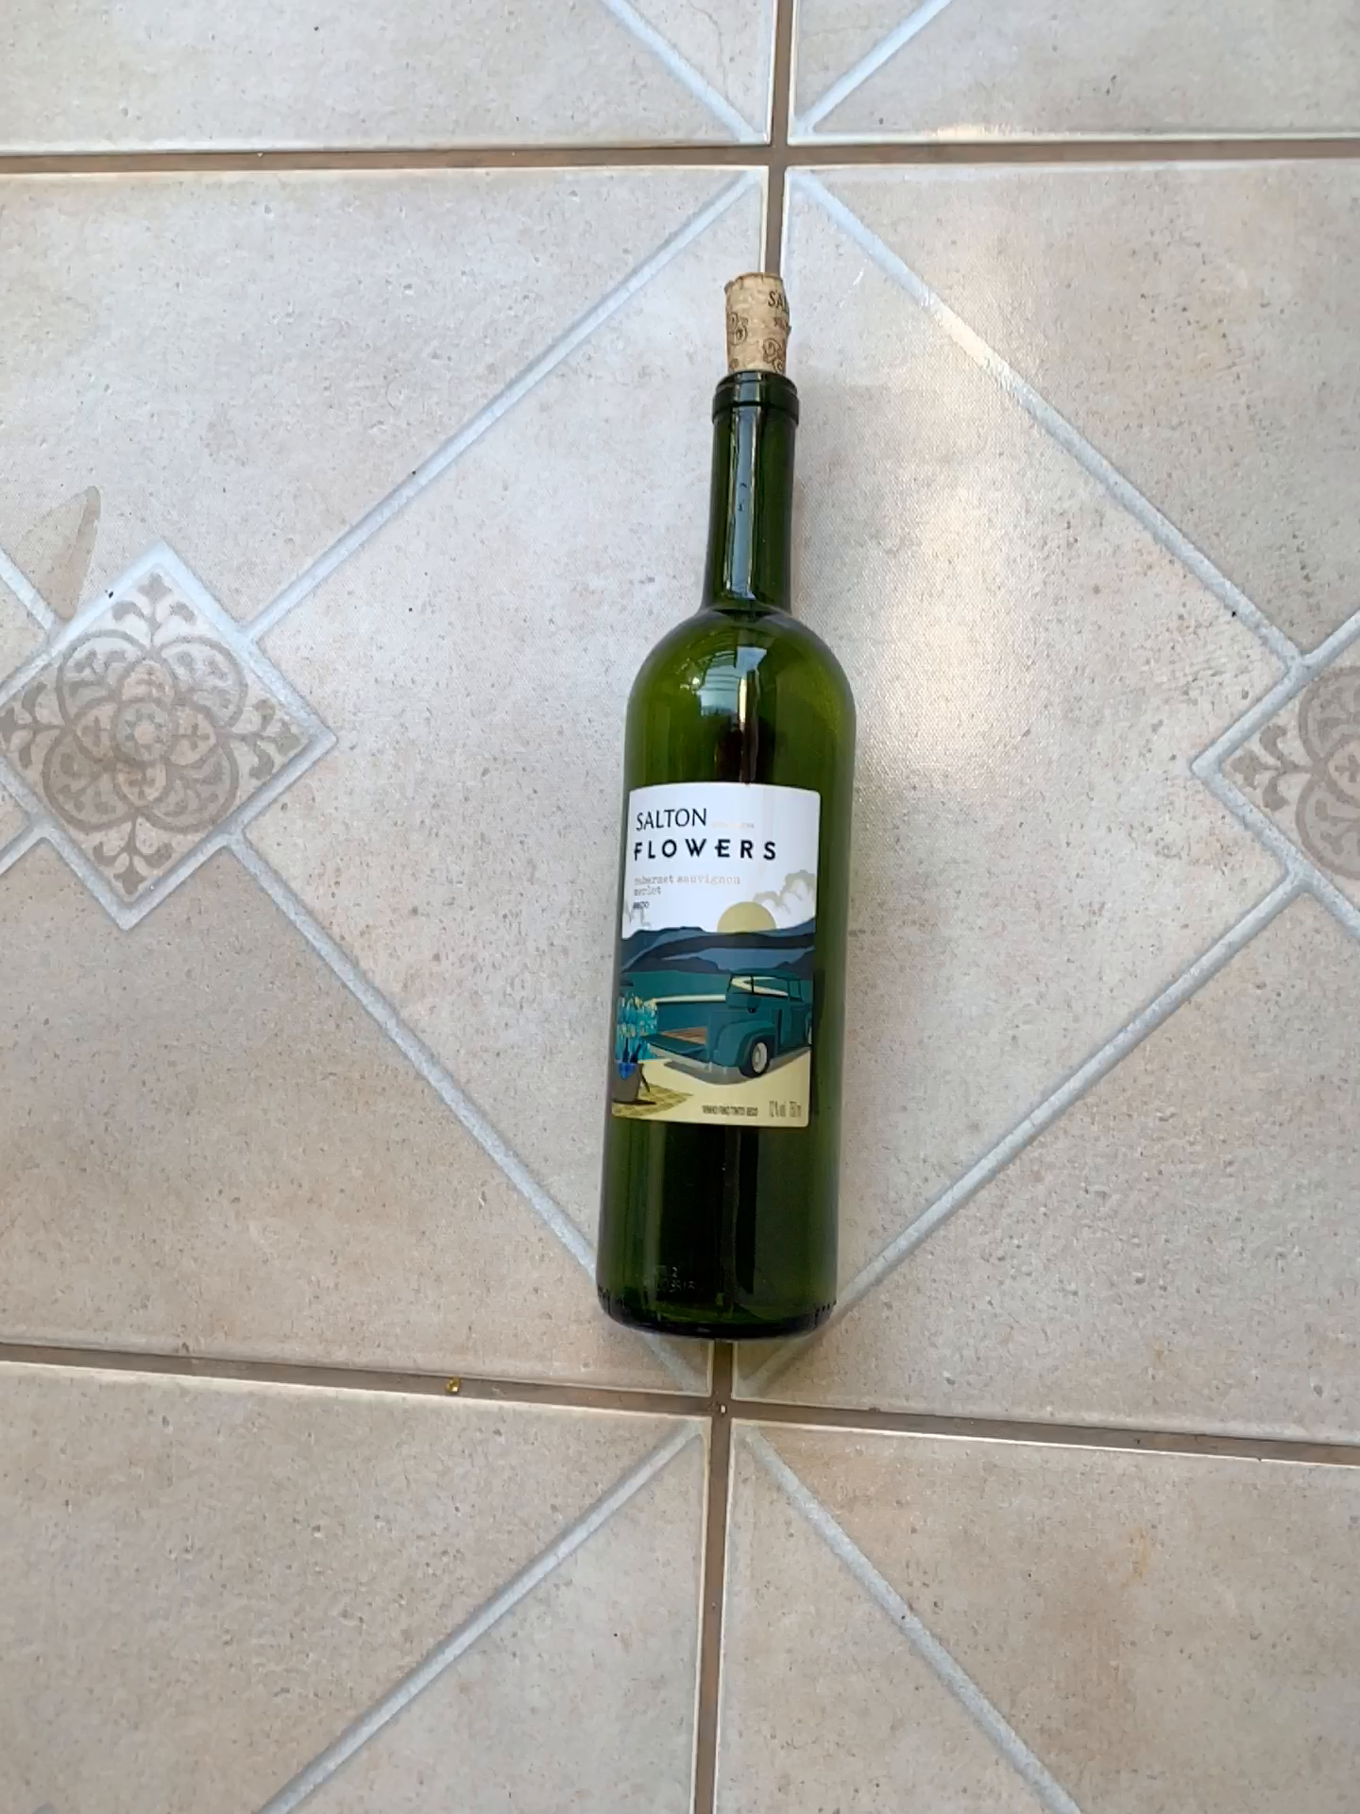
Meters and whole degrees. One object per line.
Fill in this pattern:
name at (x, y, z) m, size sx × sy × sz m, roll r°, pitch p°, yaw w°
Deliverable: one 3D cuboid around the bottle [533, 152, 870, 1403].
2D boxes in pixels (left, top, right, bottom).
bottle at (0.012, -0.039, 0.434) m, size 0.080 × 0.080 × 0.350 m, roll 0°, pitch 85°, yaw 14°
